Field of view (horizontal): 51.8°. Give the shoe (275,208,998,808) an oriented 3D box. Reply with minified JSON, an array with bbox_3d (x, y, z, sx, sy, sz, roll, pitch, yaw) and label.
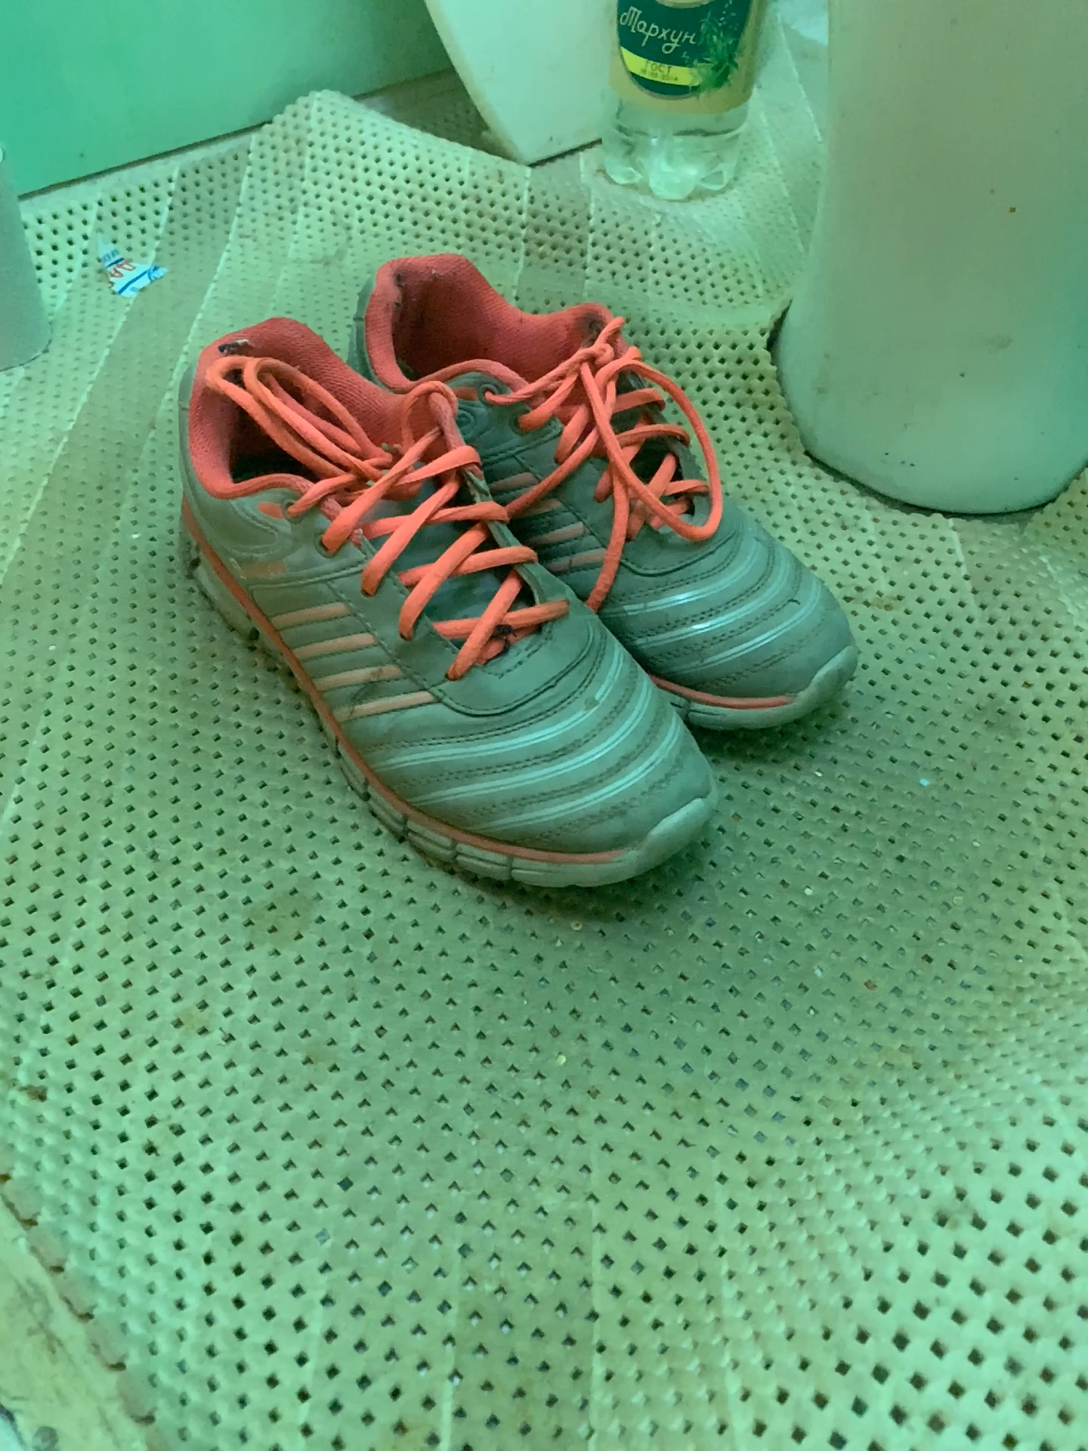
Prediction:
[{"bbox_3d":[0.024,-0.103,0.462,0.271,0.089,0.110,37,57,24],"label":"shoe"}]

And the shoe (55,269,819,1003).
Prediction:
[{"bbox_3d":[-0.050,-0.049,0.403,0.110,0.089,0.269,-32,59,-27],"label":"shoe"}]
